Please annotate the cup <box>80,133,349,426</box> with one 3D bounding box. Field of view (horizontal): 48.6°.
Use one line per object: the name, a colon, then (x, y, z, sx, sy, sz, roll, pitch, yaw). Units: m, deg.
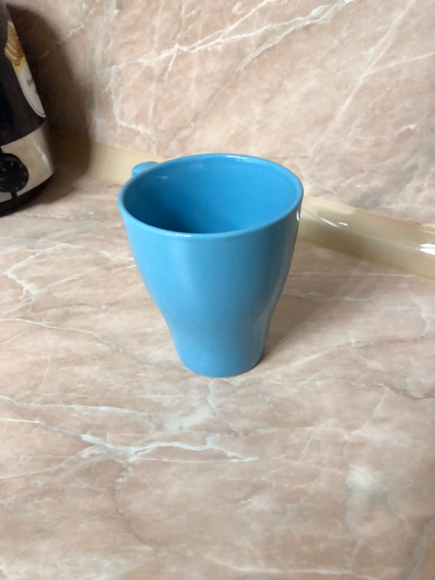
cup: (-0.006, -0.014, 0.255, 0.086, 0.089, 0.111, -21, 40, -21)
